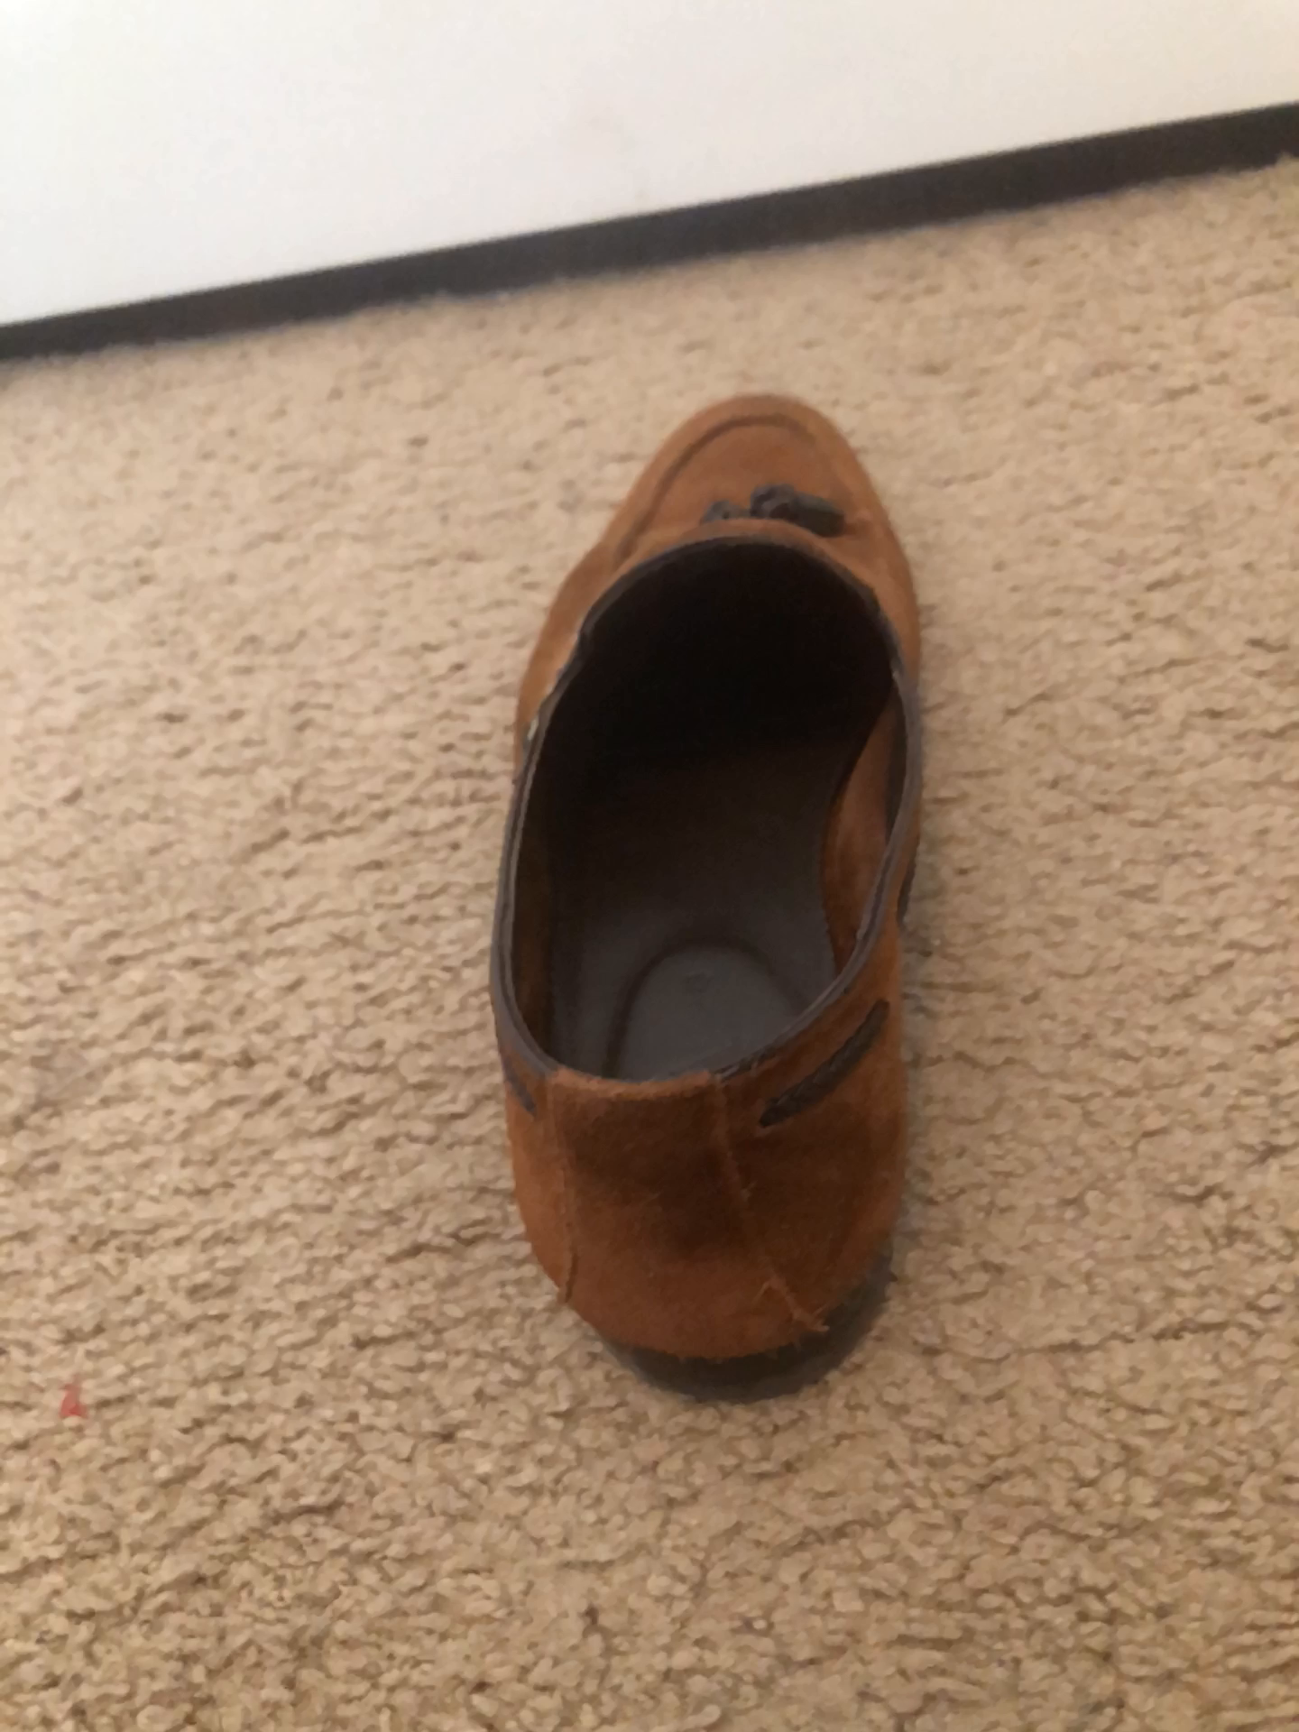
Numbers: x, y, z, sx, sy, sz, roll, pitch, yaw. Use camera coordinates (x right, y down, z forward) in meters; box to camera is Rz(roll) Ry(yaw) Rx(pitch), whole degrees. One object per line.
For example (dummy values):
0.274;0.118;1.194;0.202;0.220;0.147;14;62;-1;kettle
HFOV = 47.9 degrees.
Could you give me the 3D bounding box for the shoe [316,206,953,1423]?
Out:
0.013;-0.035;0.345;0.090;0.100;0.293;-5;47;11;shoe
